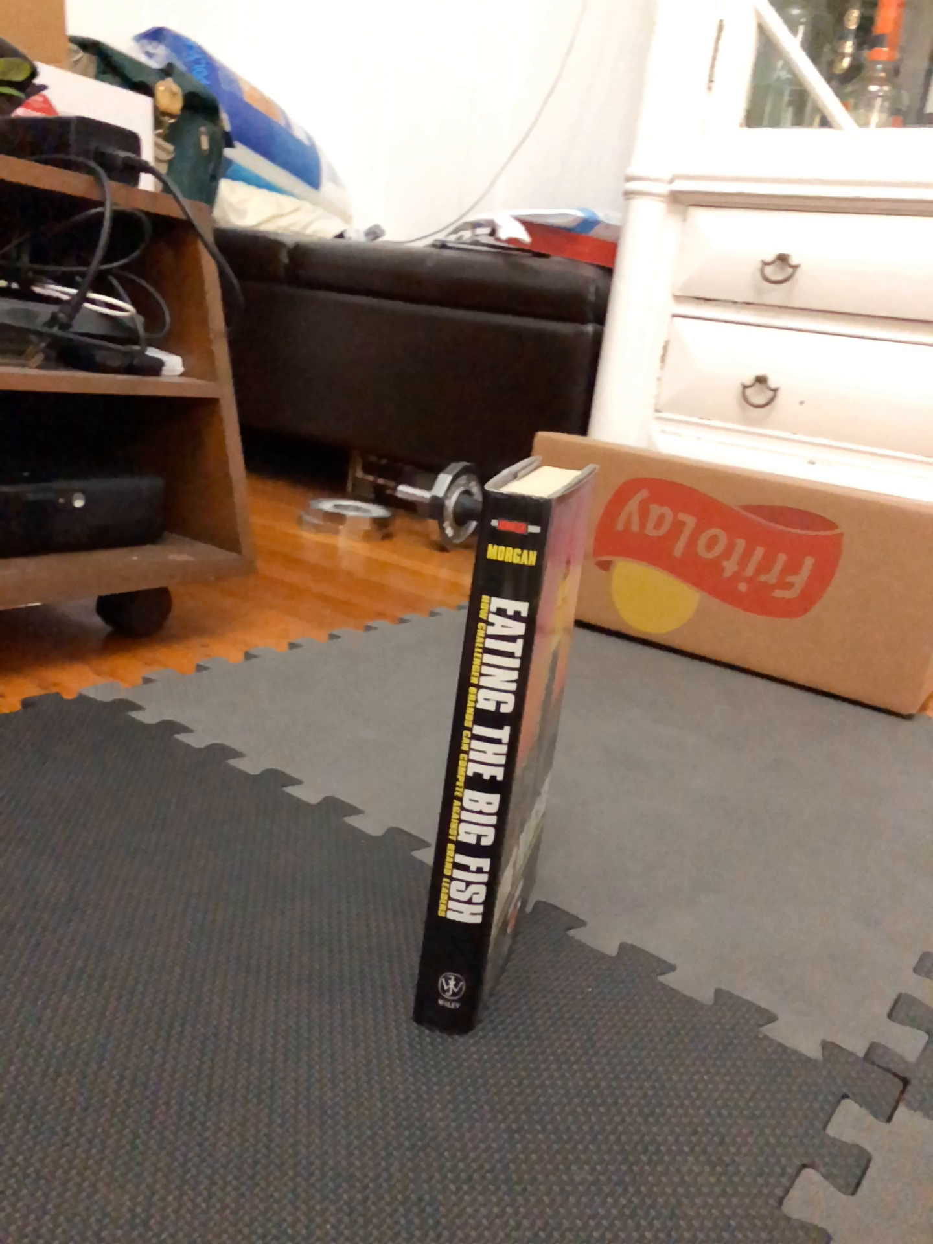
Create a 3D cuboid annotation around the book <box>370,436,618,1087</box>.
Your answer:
[{"bbox_3d":[0.019,0.050,0.498,0.050,0.259,0.181,11,15,8],"label":"book"}]
